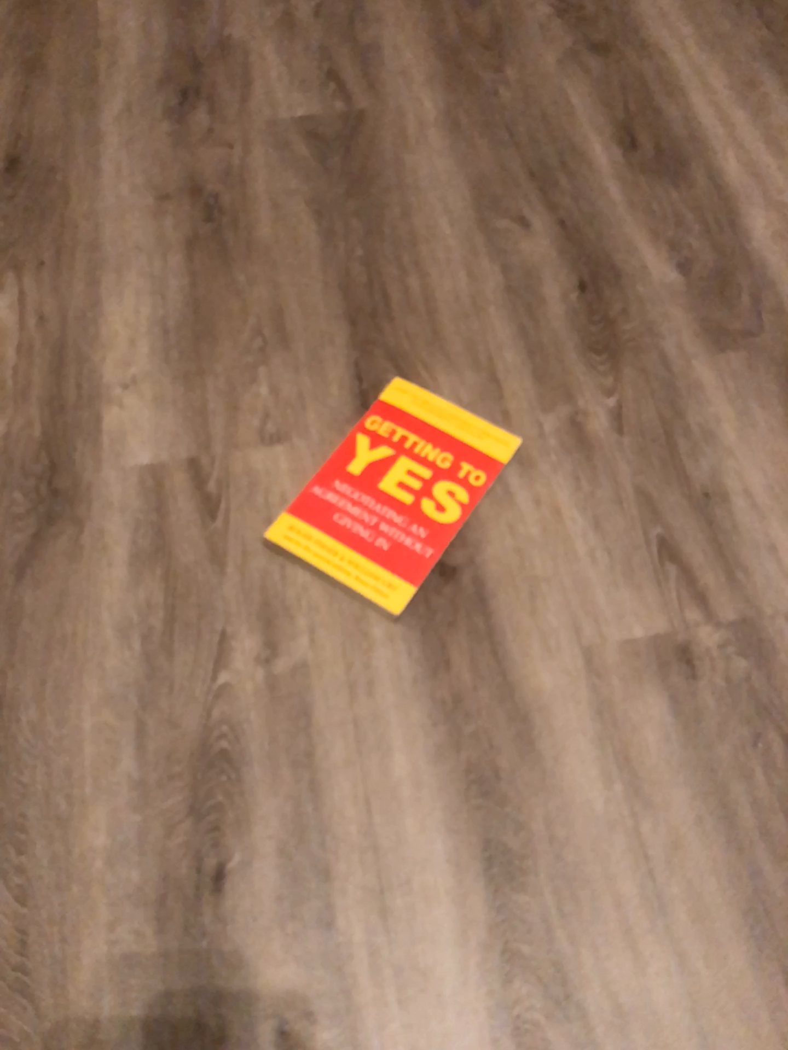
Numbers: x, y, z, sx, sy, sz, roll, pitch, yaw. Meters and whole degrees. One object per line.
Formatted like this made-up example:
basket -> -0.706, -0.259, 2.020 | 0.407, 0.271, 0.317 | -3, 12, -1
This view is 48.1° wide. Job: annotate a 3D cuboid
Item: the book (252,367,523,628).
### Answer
book -> -0.002, -0.029, 0.703 | 0.130, 0.026, 0.190 | 29, 64, 17
